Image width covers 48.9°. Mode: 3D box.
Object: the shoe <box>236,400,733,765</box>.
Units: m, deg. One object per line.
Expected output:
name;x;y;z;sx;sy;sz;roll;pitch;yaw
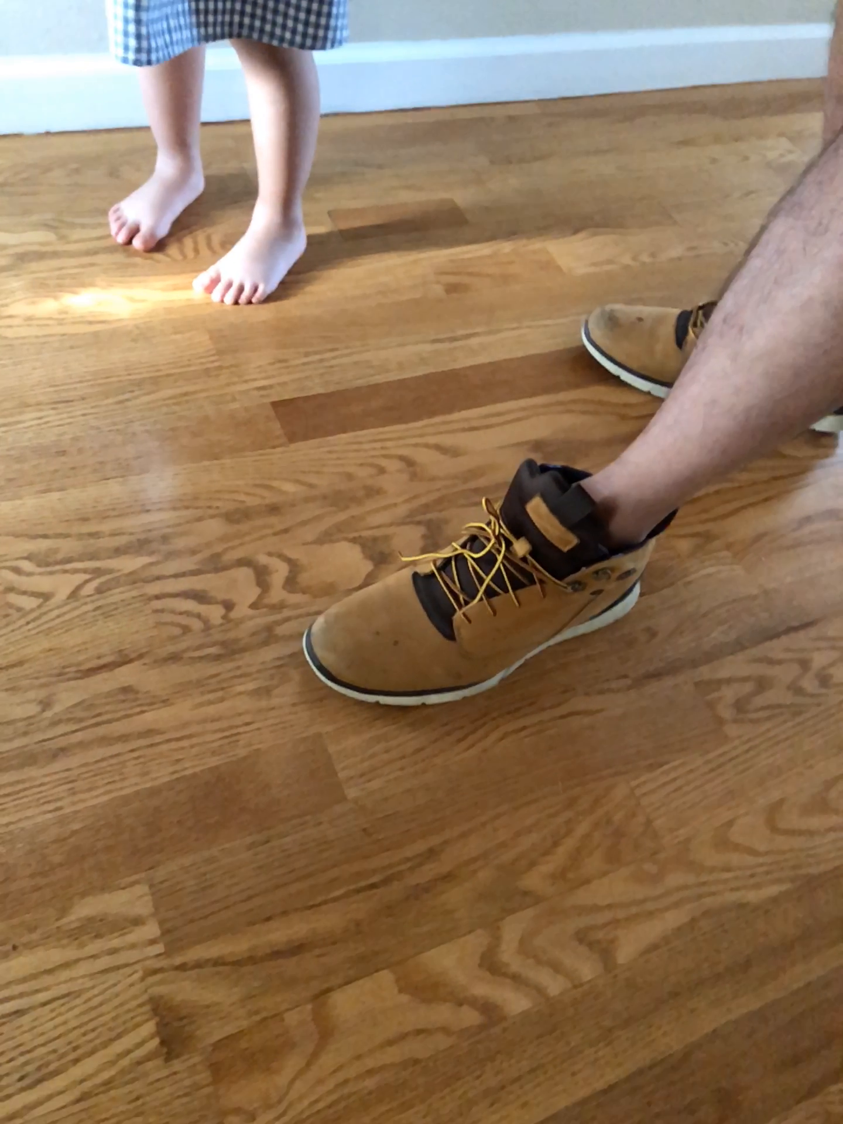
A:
shoe;0.038;0.008;0.667;0.311;0.139;0.130;-16;58;-22

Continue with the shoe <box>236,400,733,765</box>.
shoe;0.038;0.008;0.667;0.311;0.139;0.130;-16;58;-22

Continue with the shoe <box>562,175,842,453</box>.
shoe;0.329;-0.247;0.938;0.330;0.159;0.131;12;52;-2
